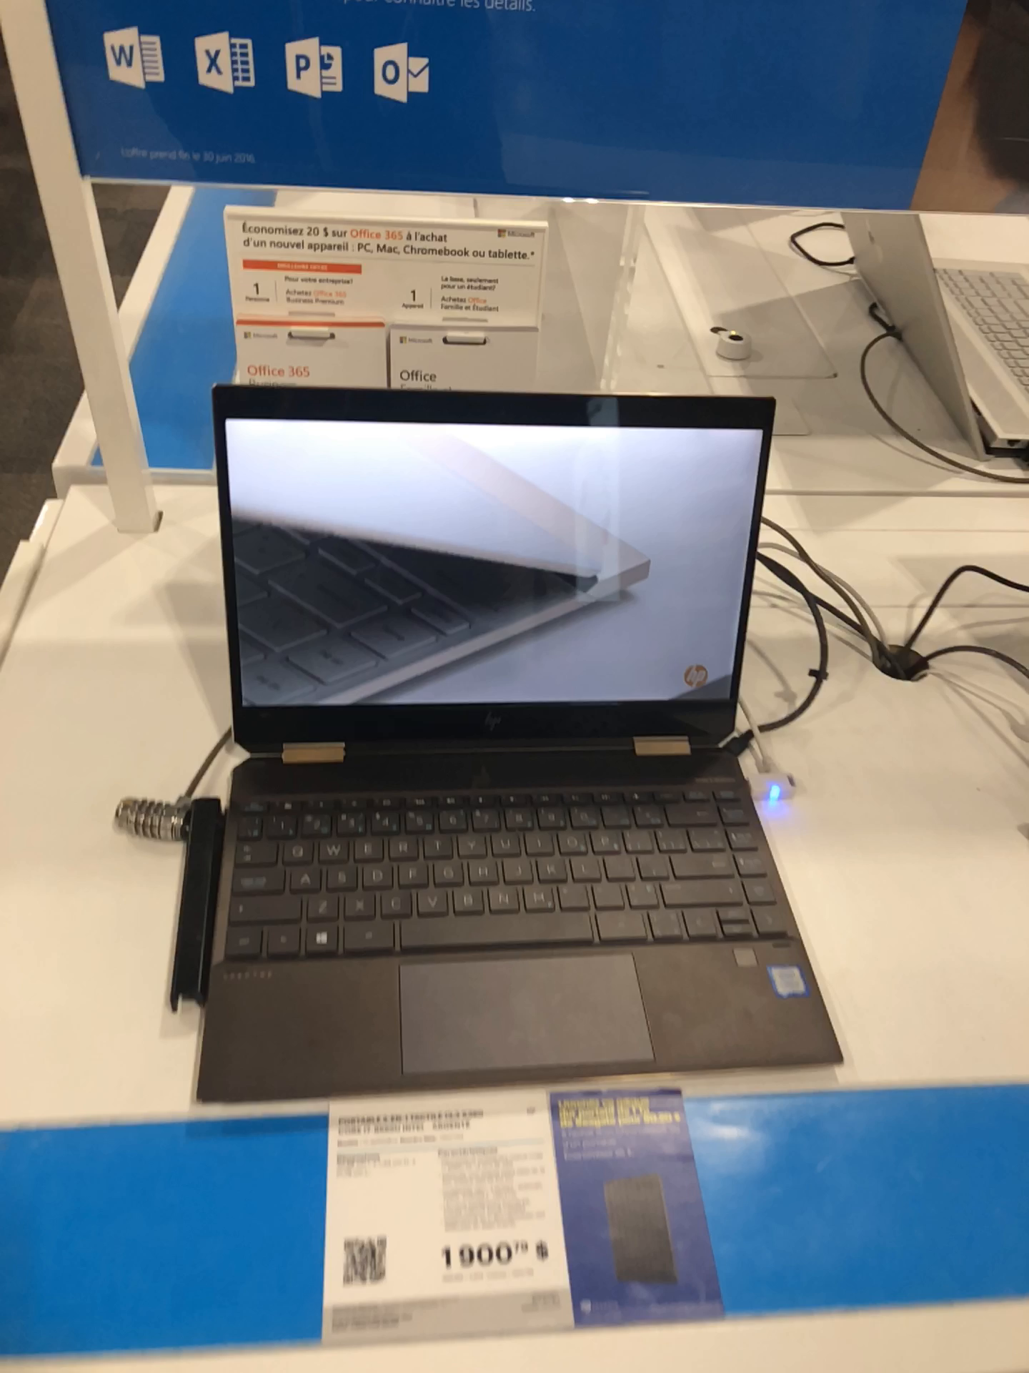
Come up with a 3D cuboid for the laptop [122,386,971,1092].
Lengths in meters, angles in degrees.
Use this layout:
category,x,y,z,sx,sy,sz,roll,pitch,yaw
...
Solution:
category,x,y,z,sx,sy,sz,roll,pitch,yaw
laptop,-0.003,0.014,0.563,0.297,0.197,0.286,0,42,-7
